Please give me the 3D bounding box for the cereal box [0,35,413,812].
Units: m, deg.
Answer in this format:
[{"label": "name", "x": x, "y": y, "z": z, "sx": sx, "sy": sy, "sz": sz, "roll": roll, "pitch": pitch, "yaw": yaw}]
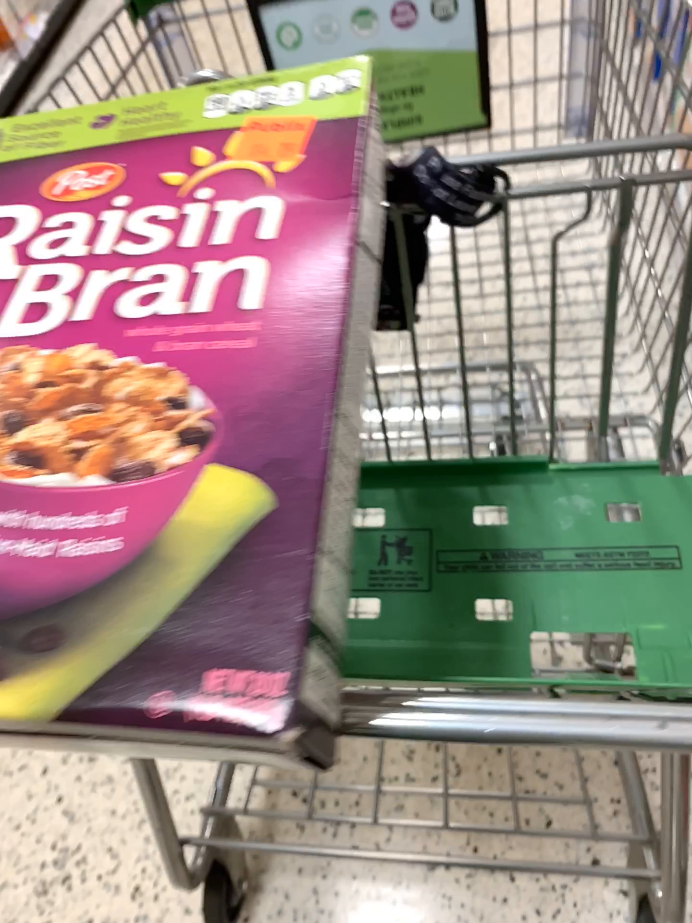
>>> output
[{"label": "cereal box", "x": -0.089, "y": -0.036, "z": 0.270, "sx": 0.210, "sy": 0.060, "sz": 0.282, "roll": -2, "pitch": 58, "yaw": 13}]
